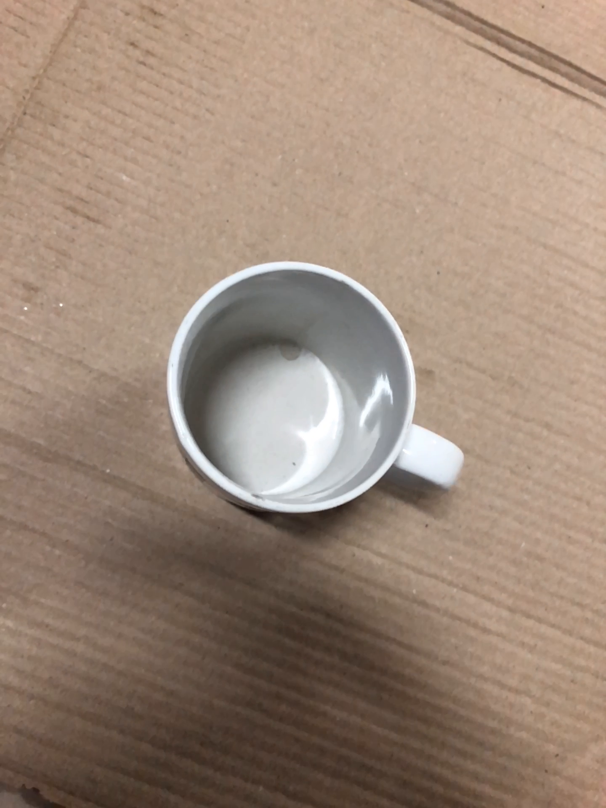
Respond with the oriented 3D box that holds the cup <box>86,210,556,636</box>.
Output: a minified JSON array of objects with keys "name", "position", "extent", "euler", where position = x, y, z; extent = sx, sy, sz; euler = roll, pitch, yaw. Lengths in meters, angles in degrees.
[{"name":"cup","position":[0.002,0.014,0.237],"extent":[0.110,0.100,0.080],"euler":[26,74,-3]}]
